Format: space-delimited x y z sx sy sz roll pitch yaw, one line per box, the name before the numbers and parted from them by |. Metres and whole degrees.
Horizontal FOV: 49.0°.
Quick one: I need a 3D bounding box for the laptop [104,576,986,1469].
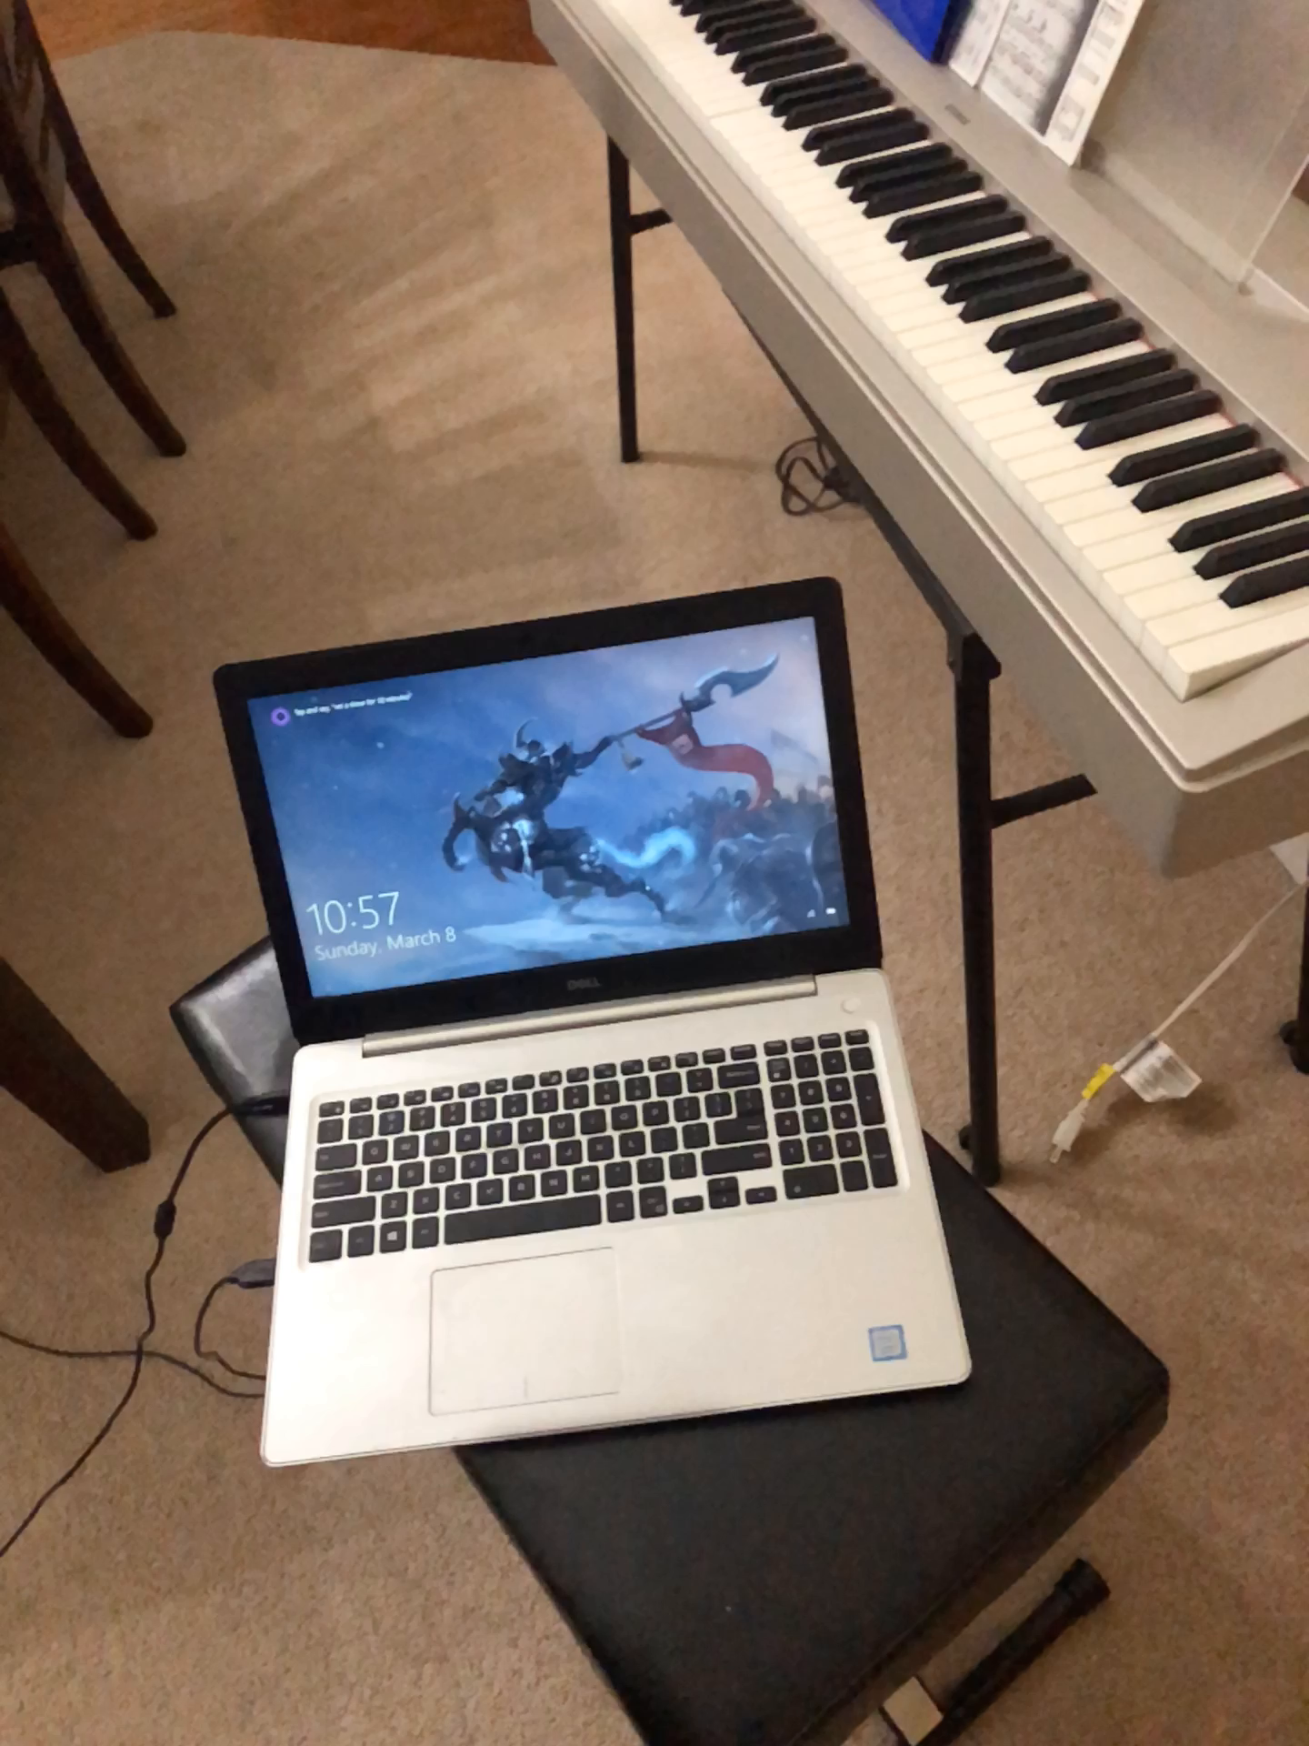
laptop | -0.052 0.070 0.797 0.374 0.183 0.410 -8 53 3
